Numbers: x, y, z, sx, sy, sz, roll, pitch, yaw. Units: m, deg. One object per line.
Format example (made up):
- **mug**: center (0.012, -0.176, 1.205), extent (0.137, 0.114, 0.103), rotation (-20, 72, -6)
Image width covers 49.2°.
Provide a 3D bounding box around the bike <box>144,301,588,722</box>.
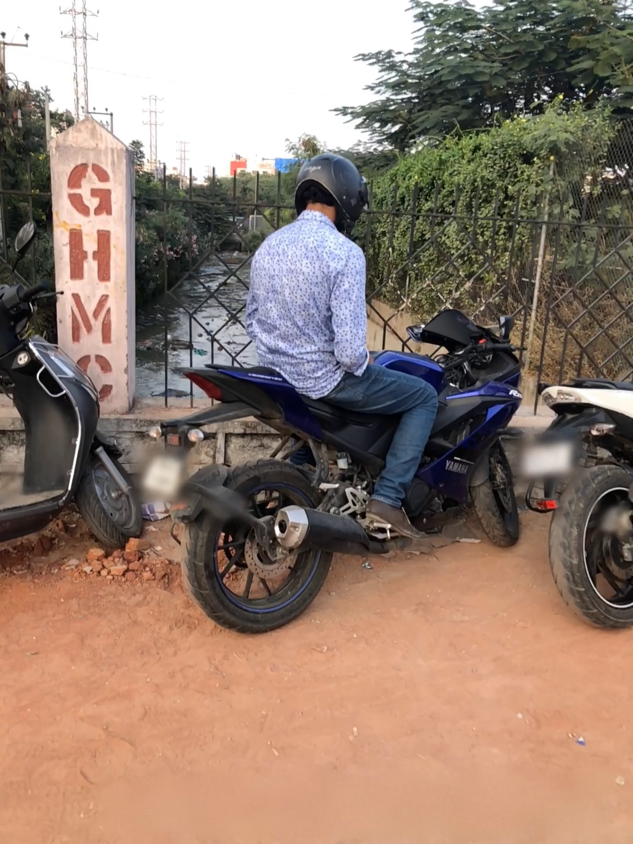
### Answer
- **bike**: center (0.314, 0.123, 2.862), extent (0.731, 0.996, 1.950), rotation (16, 22, 40)
